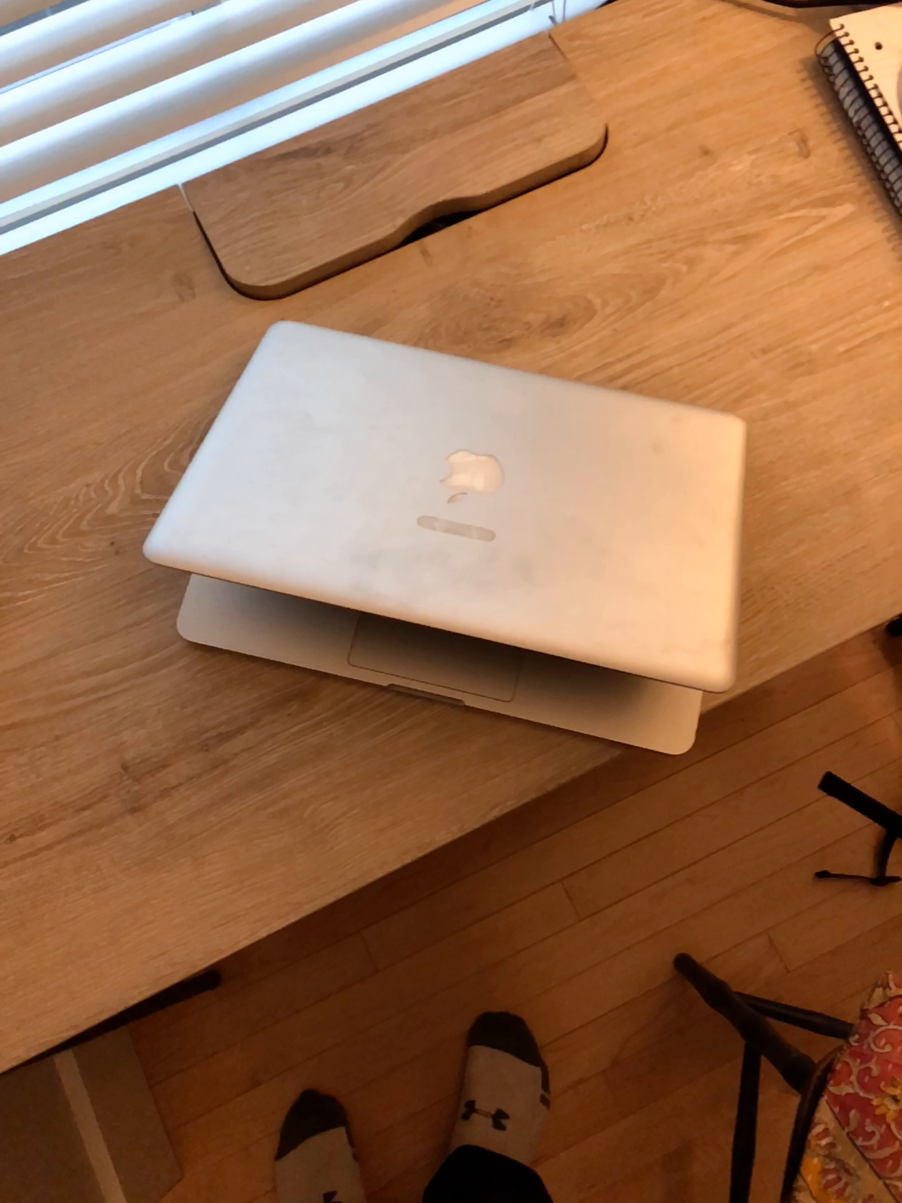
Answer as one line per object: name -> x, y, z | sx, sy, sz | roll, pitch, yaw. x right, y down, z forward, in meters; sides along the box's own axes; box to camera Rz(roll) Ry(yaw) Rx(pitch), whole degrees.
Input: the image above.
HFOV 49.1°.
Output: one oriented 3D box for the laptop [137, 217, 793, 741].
laptop -> 0.014, -0.073, 0.584 | 0.318, 0.090, 0.229 | 13, 74, 5
